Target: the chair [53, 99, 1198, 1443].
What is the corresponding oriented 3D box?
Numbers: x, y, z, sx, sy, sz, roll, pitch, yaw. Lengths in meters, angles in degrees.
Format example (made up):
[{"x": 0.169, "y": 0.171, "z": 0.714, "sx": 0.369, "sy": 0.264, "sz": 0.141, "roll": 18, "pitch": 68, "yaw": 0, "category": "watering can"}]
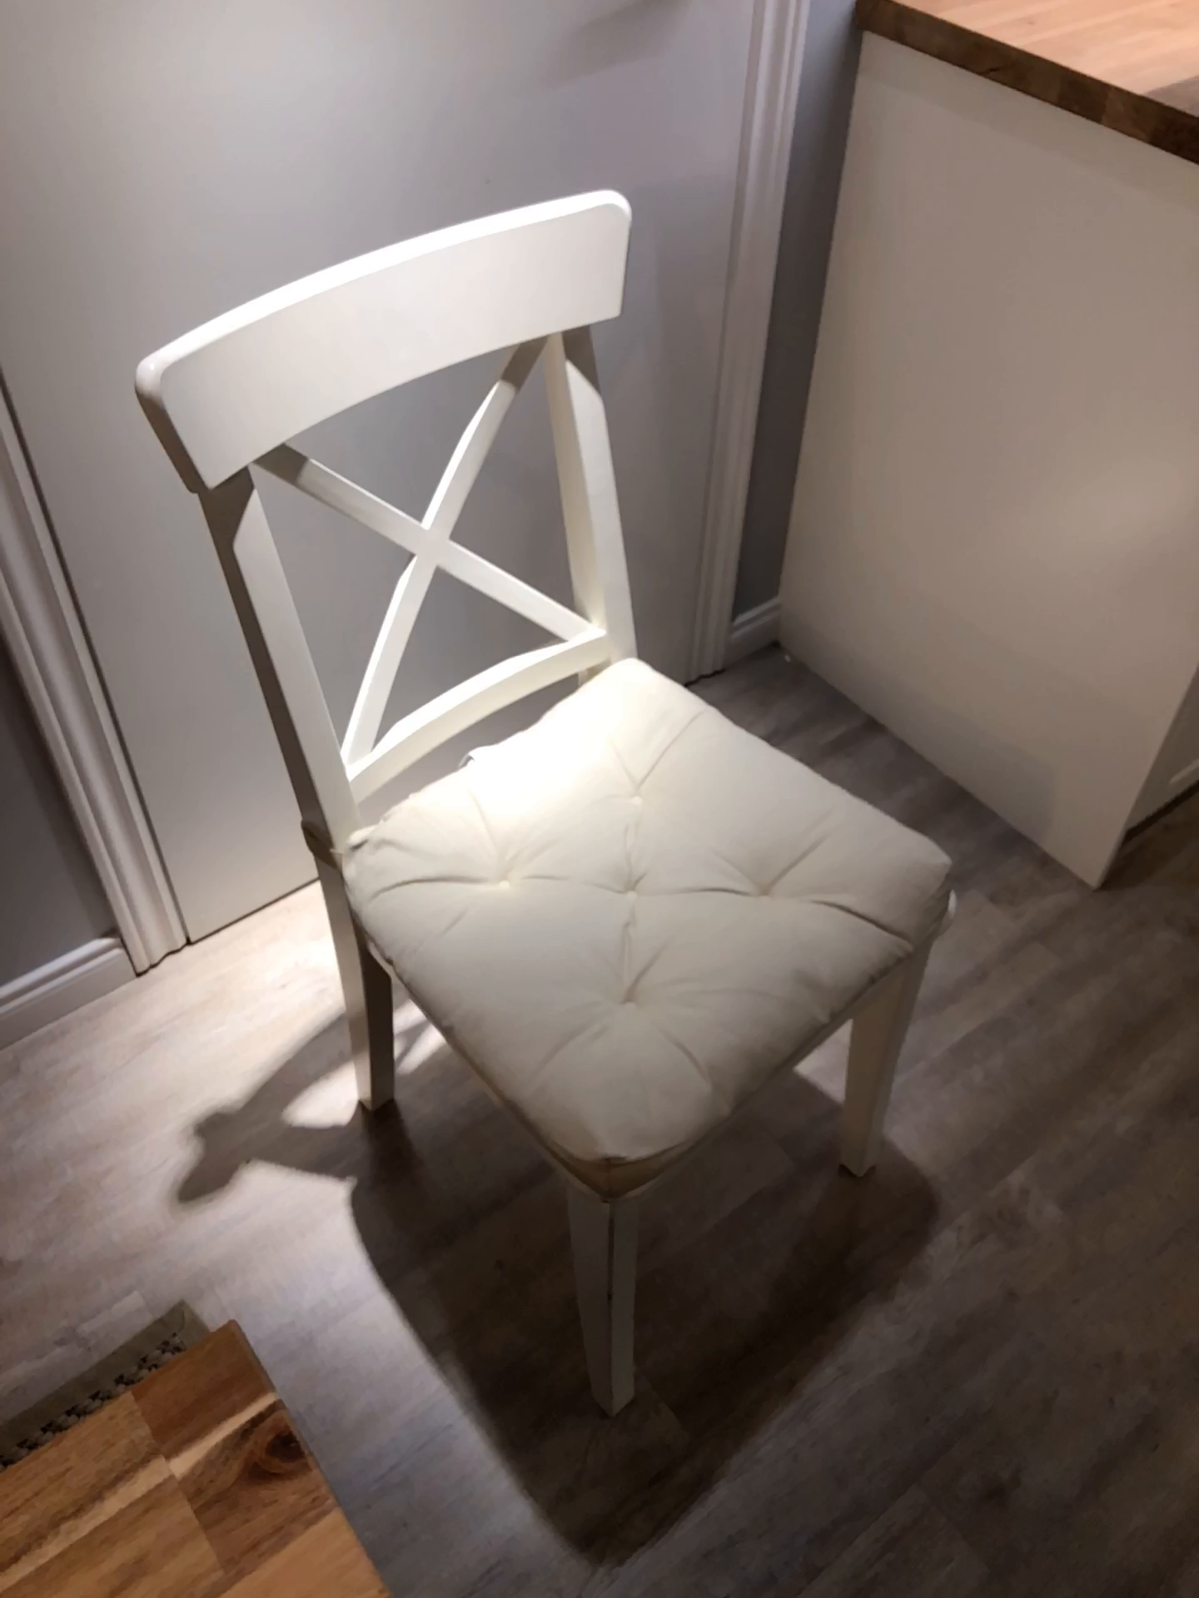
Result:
[{"x": 0.008, "y": 0.022, "z": 1.079, "sx": 0.451, "sy": 0.875, "sz": 0.512, "roll": -34, "pitch": 57, "yaw": -29, "category": "chair"}]
